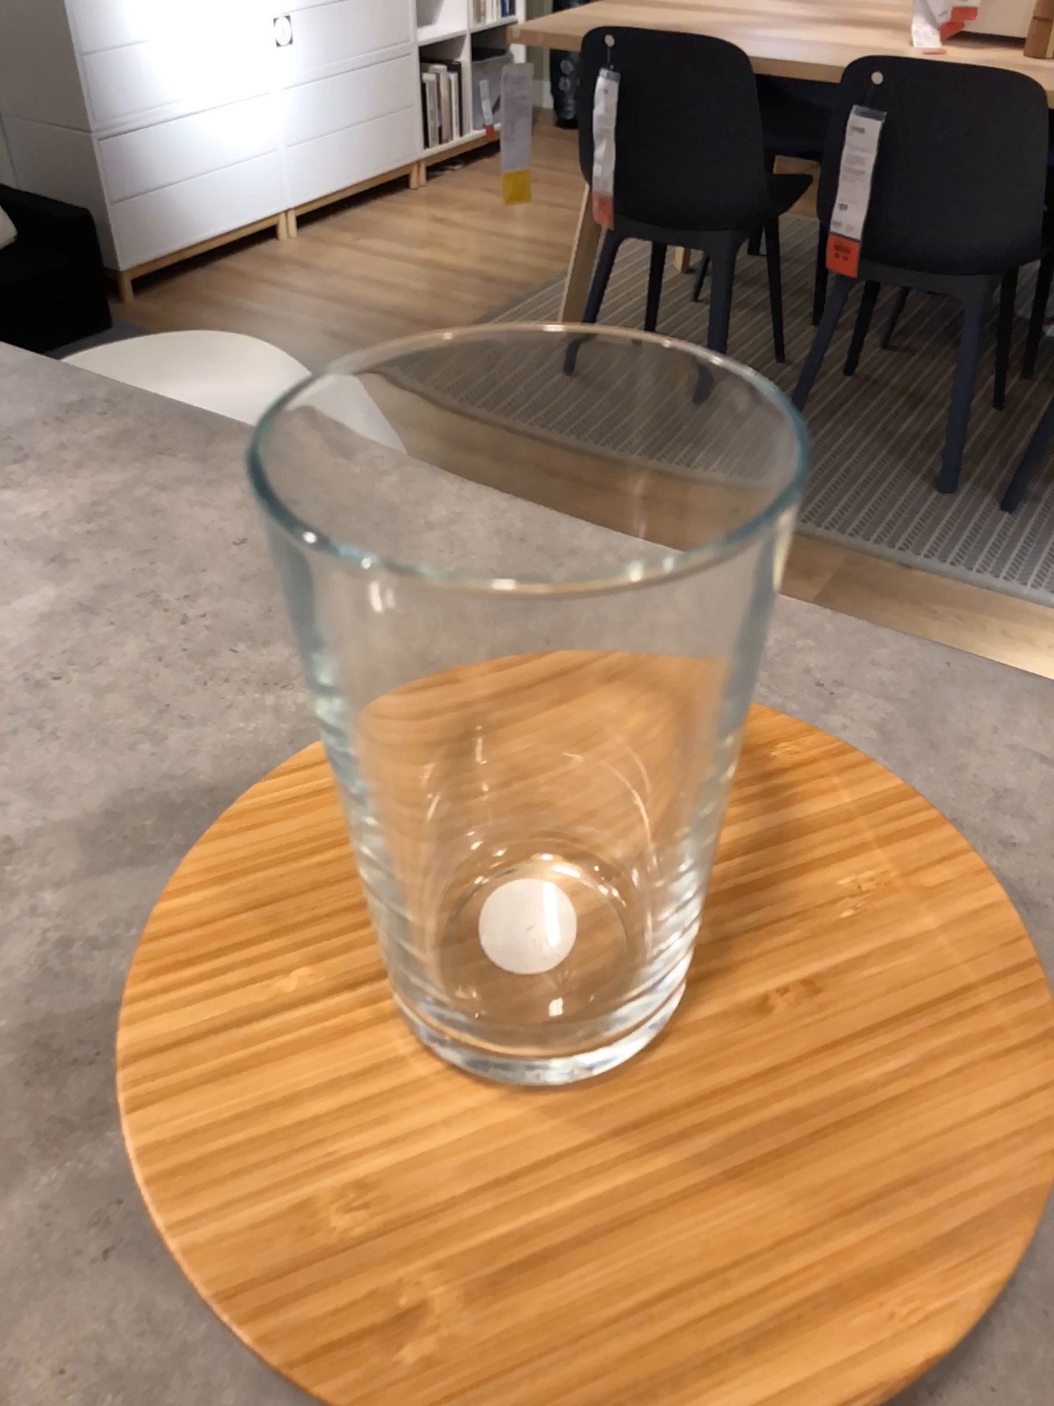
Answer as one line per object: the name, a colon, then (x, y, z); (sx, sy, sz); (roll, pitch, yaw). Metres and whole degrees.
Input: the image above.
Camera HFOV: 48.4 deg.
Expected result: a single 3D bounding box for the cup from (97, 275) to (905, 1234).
cup: (0.003, 0.007, 0.236); (0.100, 0.139, 0.100); (0, 38, 0)
